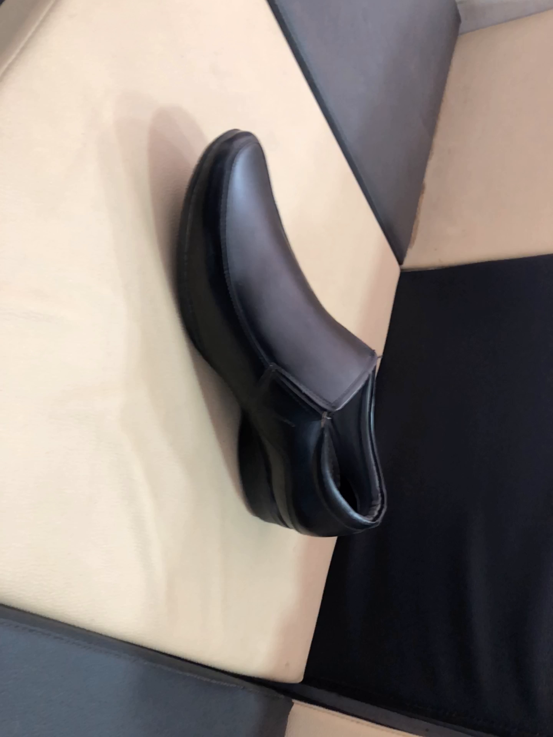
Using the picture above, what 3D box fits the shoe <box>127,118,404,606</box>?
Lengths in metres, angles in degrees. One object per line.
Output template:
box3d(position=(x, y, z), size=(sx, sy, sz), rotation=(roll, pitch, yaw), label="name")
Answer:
box3d(position=(0.007, 0.001, 0.445), size=(0.101, 0.099, 0.321), rotation=(-38, 122, -51), label="shoe")
